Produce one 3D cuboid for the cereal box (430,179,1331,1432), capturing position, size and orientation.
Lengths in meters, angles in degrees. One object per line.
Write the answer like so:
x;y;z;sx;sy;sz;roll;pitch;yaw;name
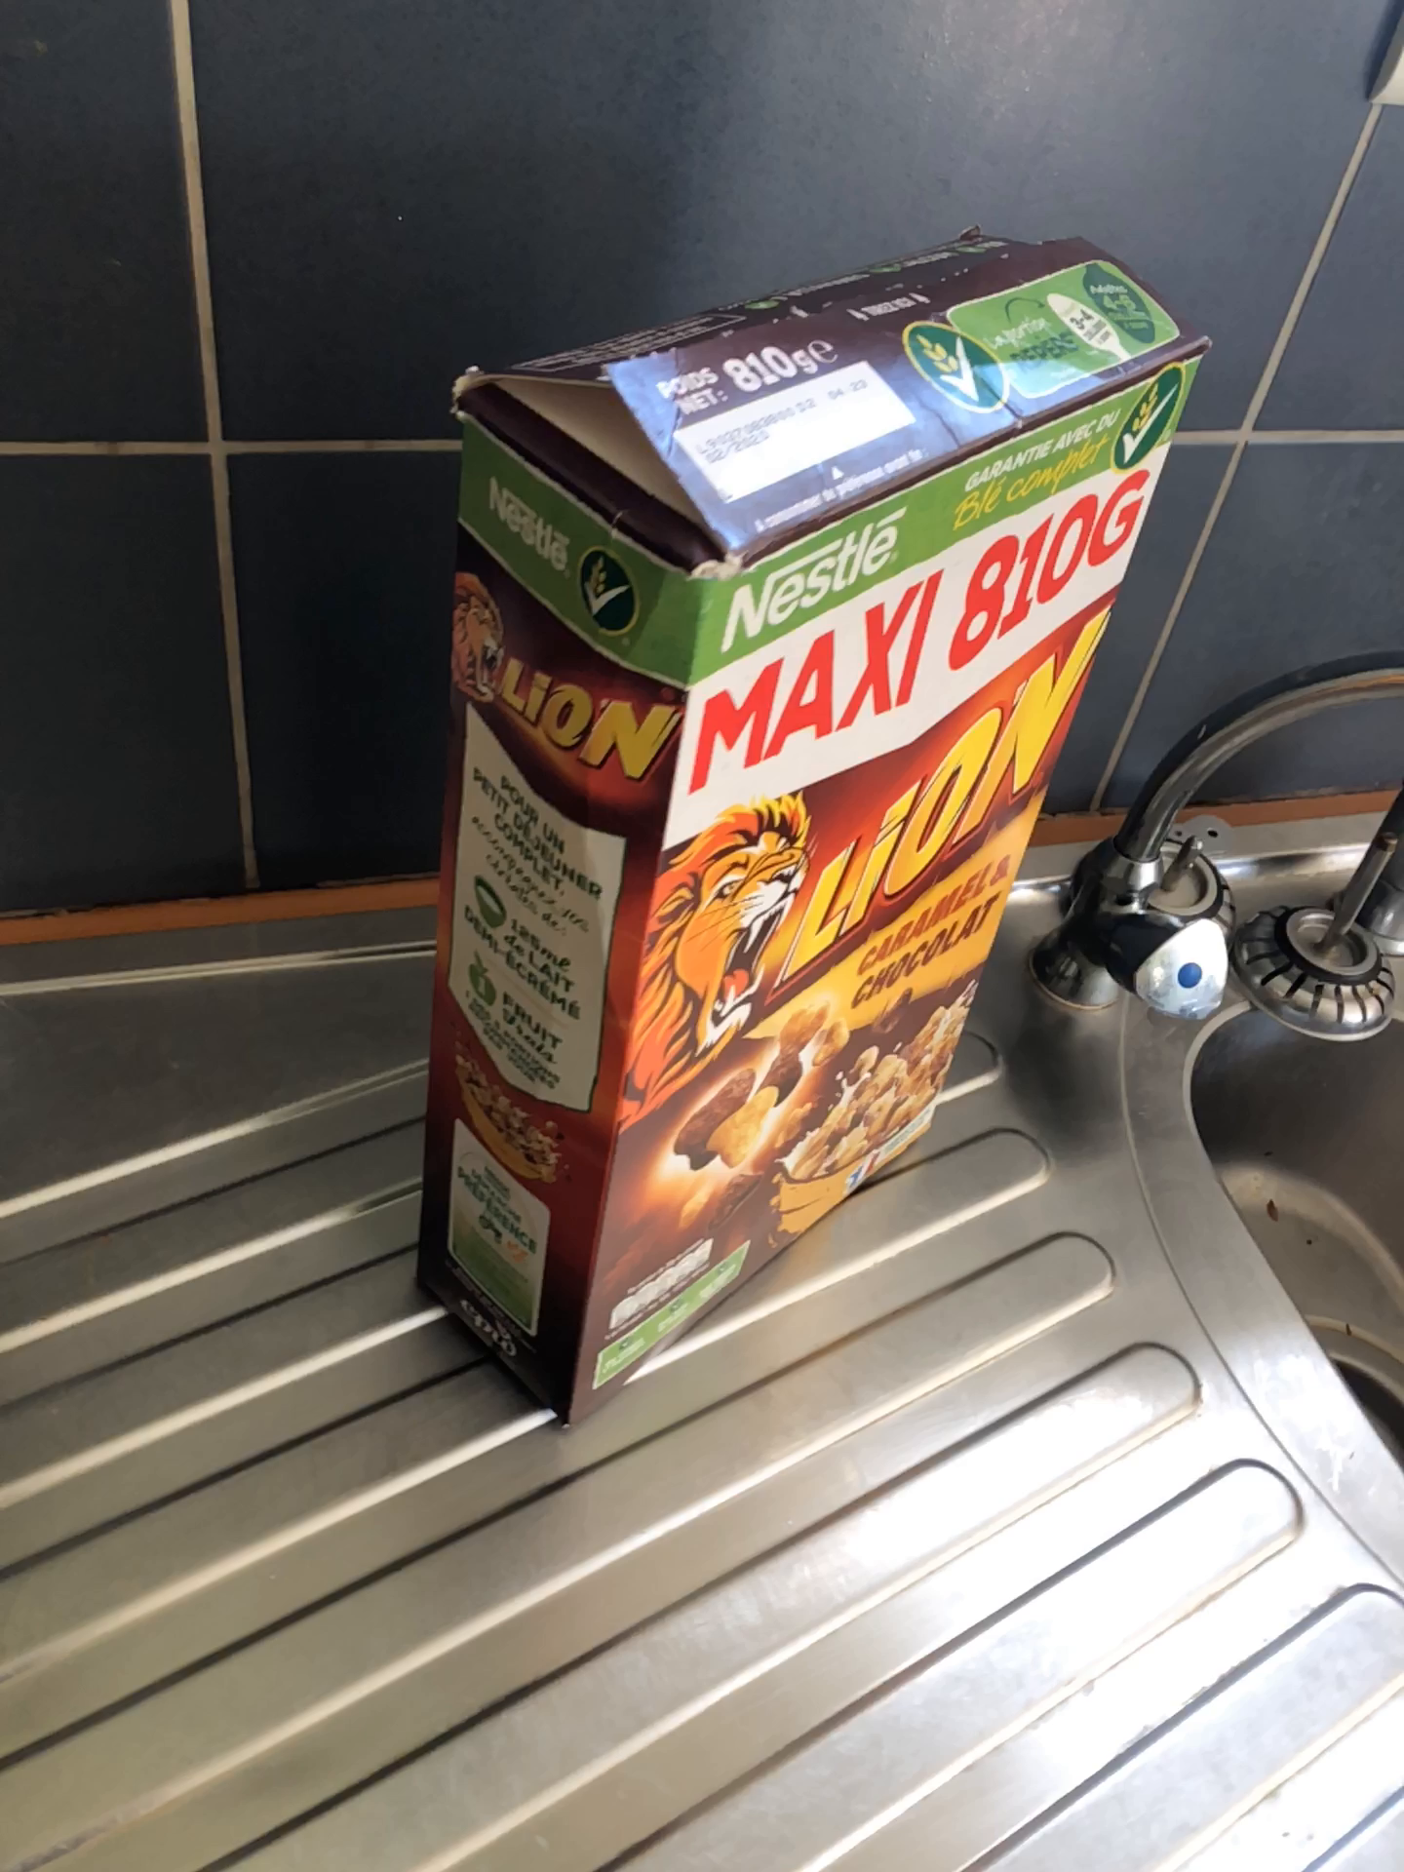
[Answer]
0.031;-0.024;0.445;0.201;0.318;0.080;-31;58;-35;cereal box
